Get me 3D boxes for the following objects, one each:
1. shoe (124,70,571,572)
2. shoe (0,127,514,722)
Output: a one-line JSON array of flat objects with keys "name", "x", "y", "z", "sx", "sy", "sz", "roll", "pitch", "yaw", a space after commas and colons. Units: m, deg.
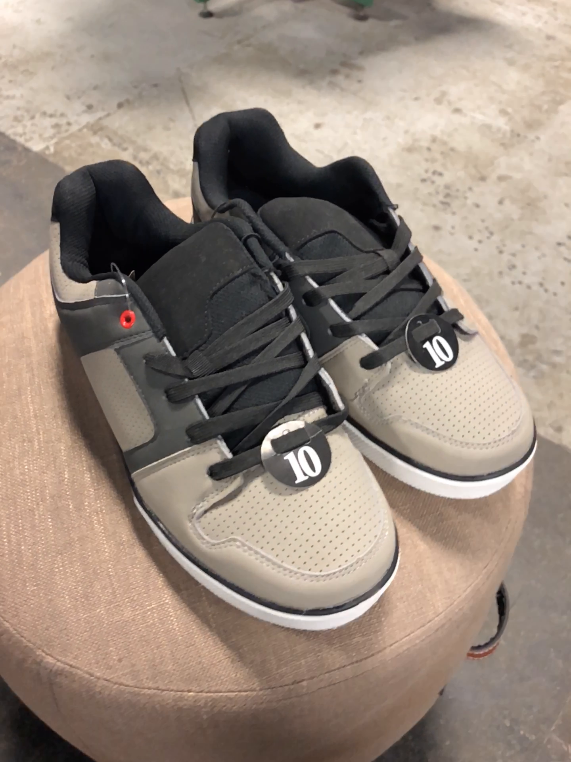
[{"name": "shoe", "x": 0.038, "y": -0.059, "z": 0.386, "sx": 0.120, "sy": 0.099, "sz": 0.311, "roll": -30, "pitch": 59, "yaw": -22}, {"name": "shoe", "x": -0.039, "y": 0.004, "z": 0.324, "sx": 0.120, "sy": 0.119, "sz": 0.261, "roll": -28, "pitch": 58, "yaw": -20}]
